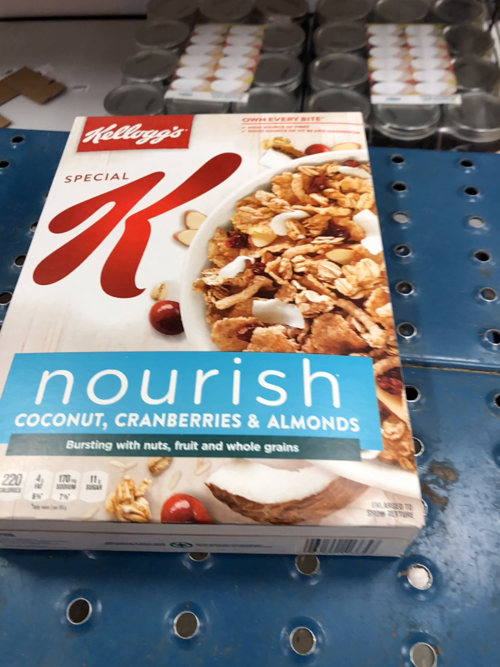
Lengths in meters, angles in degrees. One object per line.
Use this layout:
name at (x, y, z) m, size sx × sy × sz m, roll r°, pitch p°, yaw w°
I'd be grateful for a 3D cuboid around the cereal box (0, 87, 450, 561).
cereal box at (-0.027, -0.032, 0.315) m, size 0.210 × 0.050 × 0.290 m, roll 0°, pitch 55°, yaw 2°
